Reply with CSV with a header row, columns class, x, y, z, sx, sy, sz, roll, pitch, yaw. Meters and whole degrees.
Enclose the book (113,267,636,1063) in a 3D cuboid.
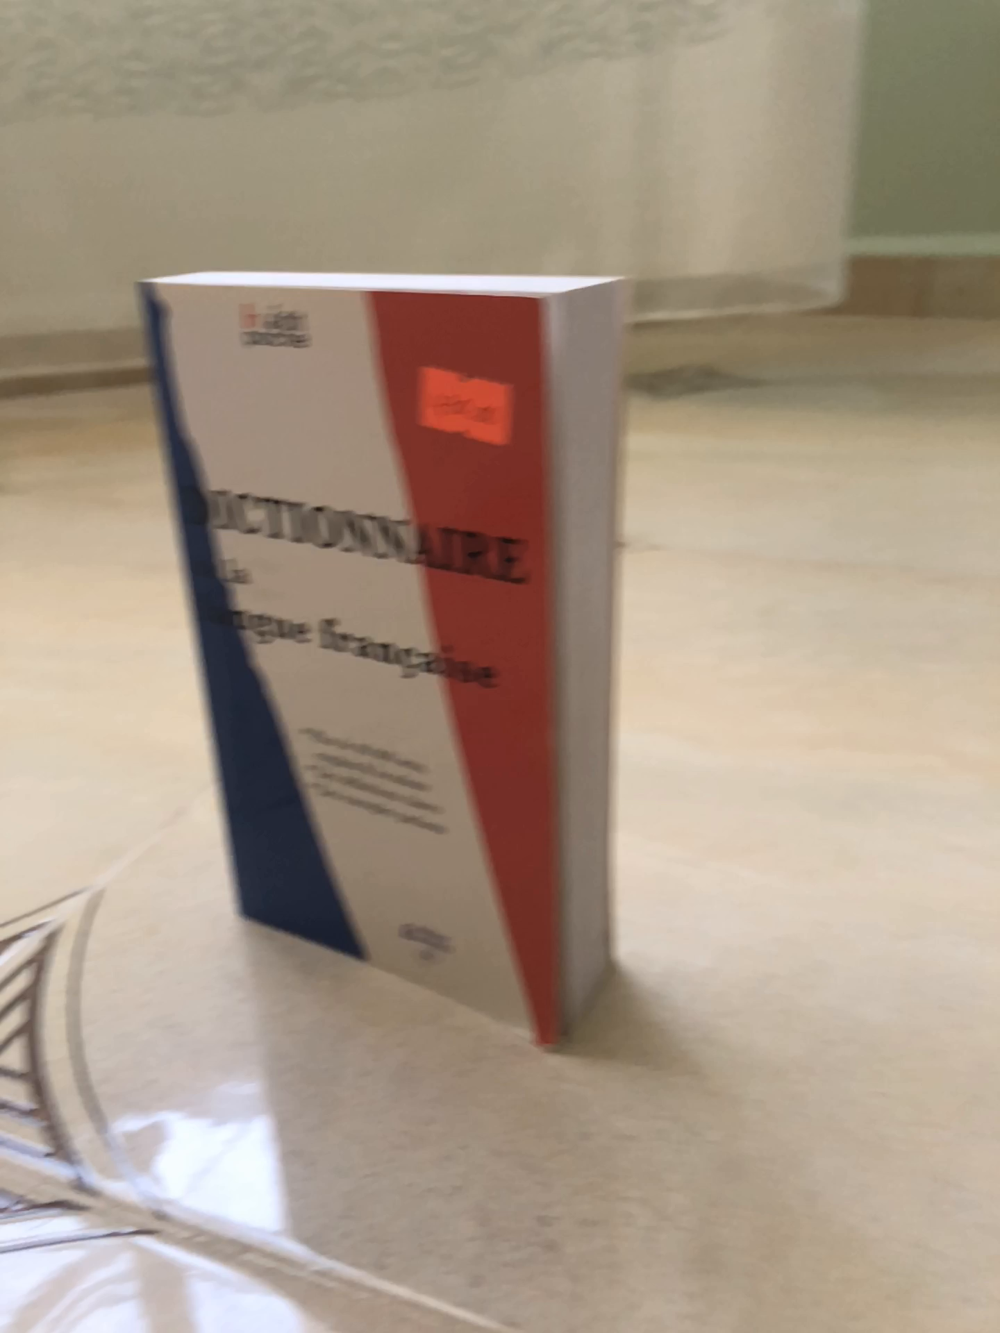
class,x,y,z,sx,sy,sz,roll,pitch,yaw
book,-0.028,-0.003,0.284,0.121,0.182,0.034,13,28,31
